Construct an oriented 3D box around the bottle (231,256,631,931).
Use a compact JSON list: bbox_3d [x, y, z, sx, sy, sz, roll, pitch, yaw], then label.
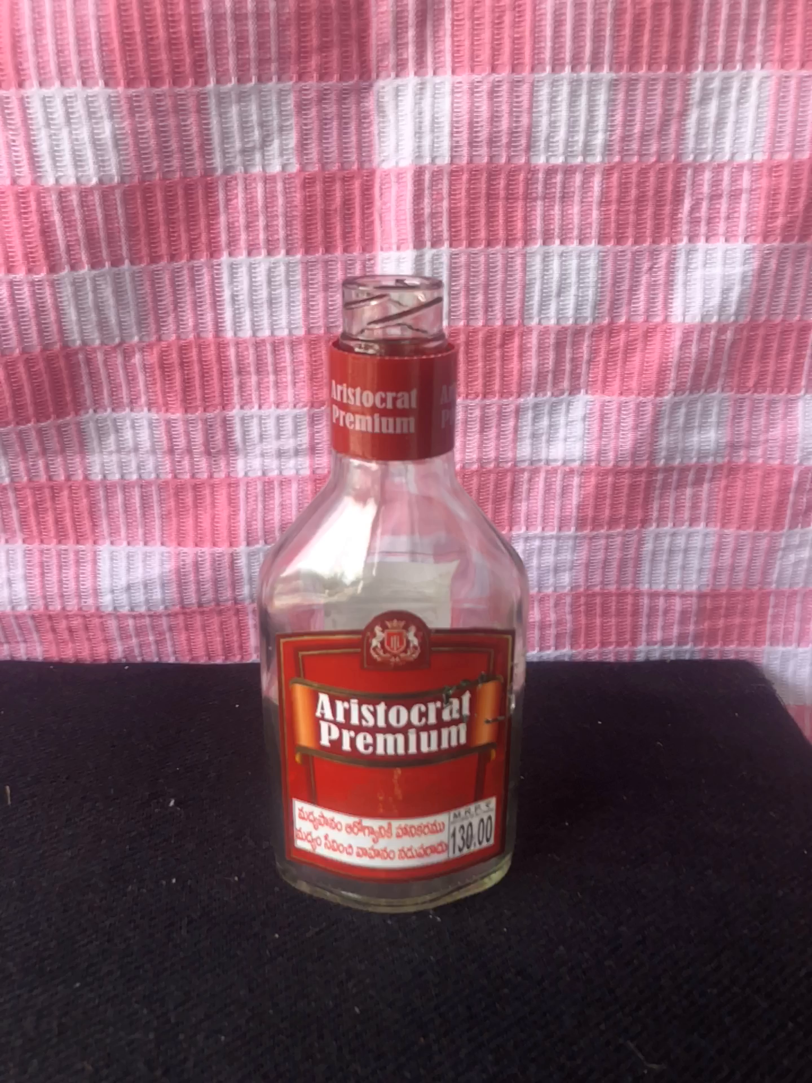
[{"bbox_3d":[0.002,0.015,0.210,0.070,0.149,0.050,1,24,-3],"label":"bottle"}]
